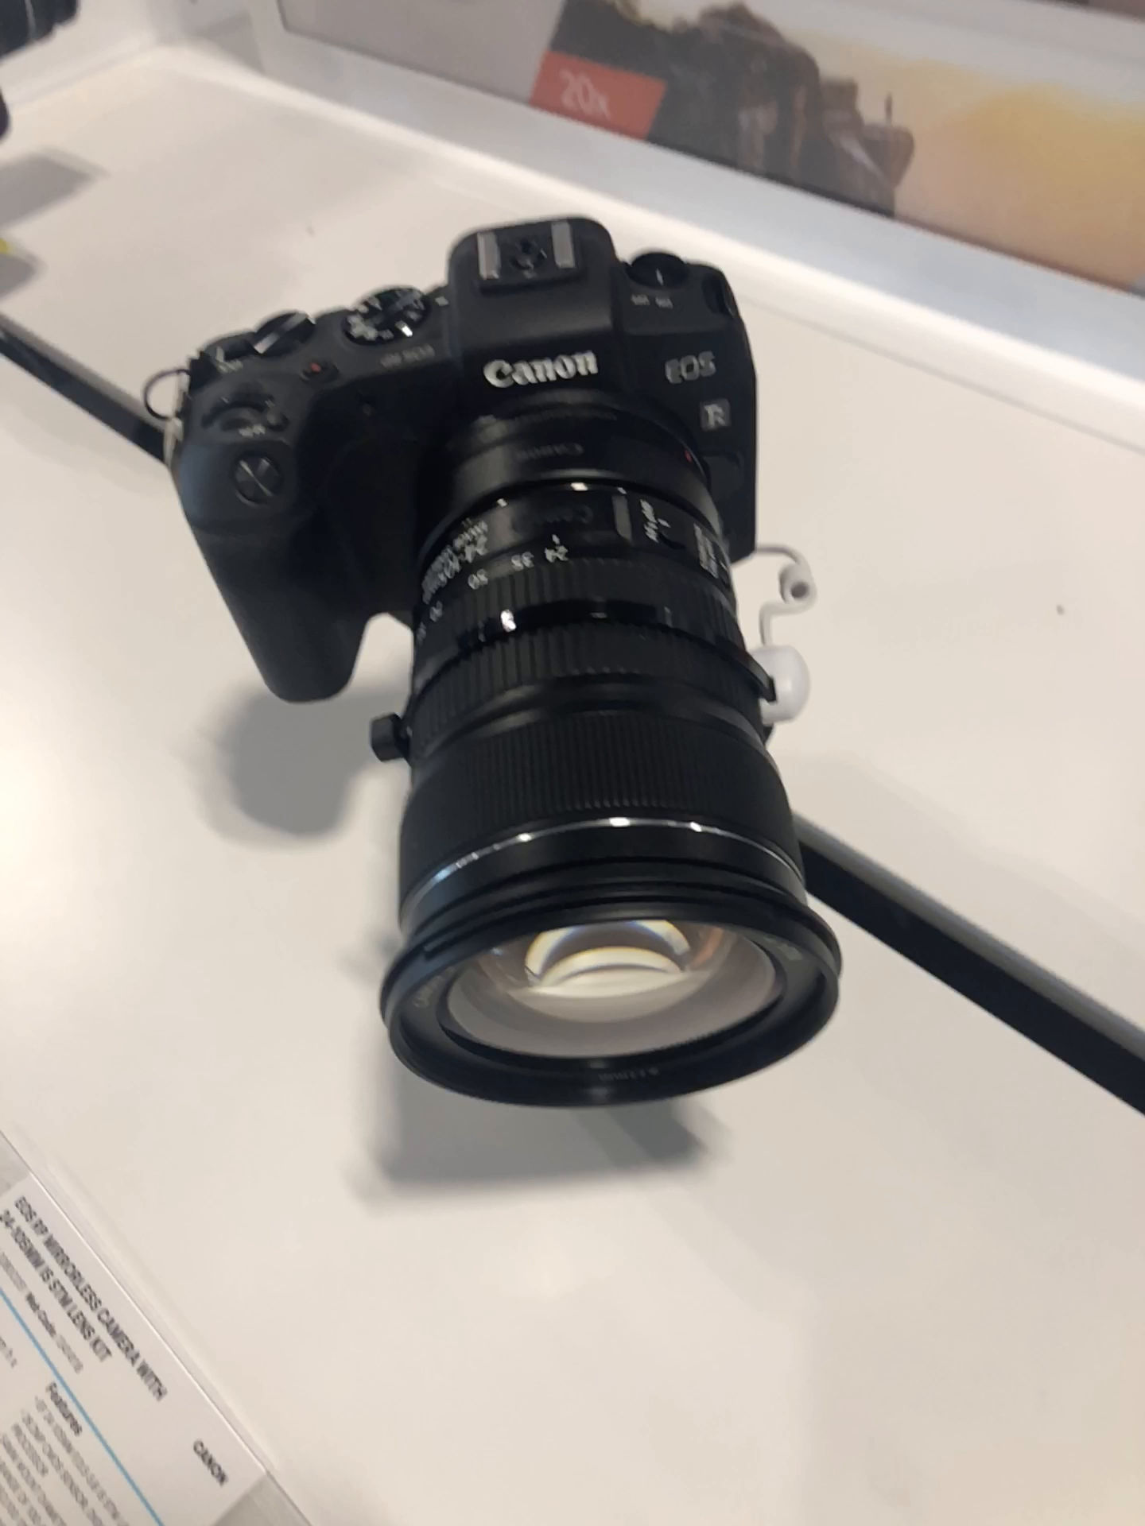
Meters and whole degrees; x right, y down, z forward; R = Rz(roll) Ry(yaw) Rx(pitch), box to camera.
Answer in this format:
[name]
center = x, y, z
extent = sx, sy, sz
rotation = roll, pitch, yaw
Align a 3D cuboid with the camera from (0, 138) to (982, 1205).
[camera]
center = -0.020, -0.029, 0.261
extent = 0.136, 0.089, 0.191
rotation = -9, 51, 0
